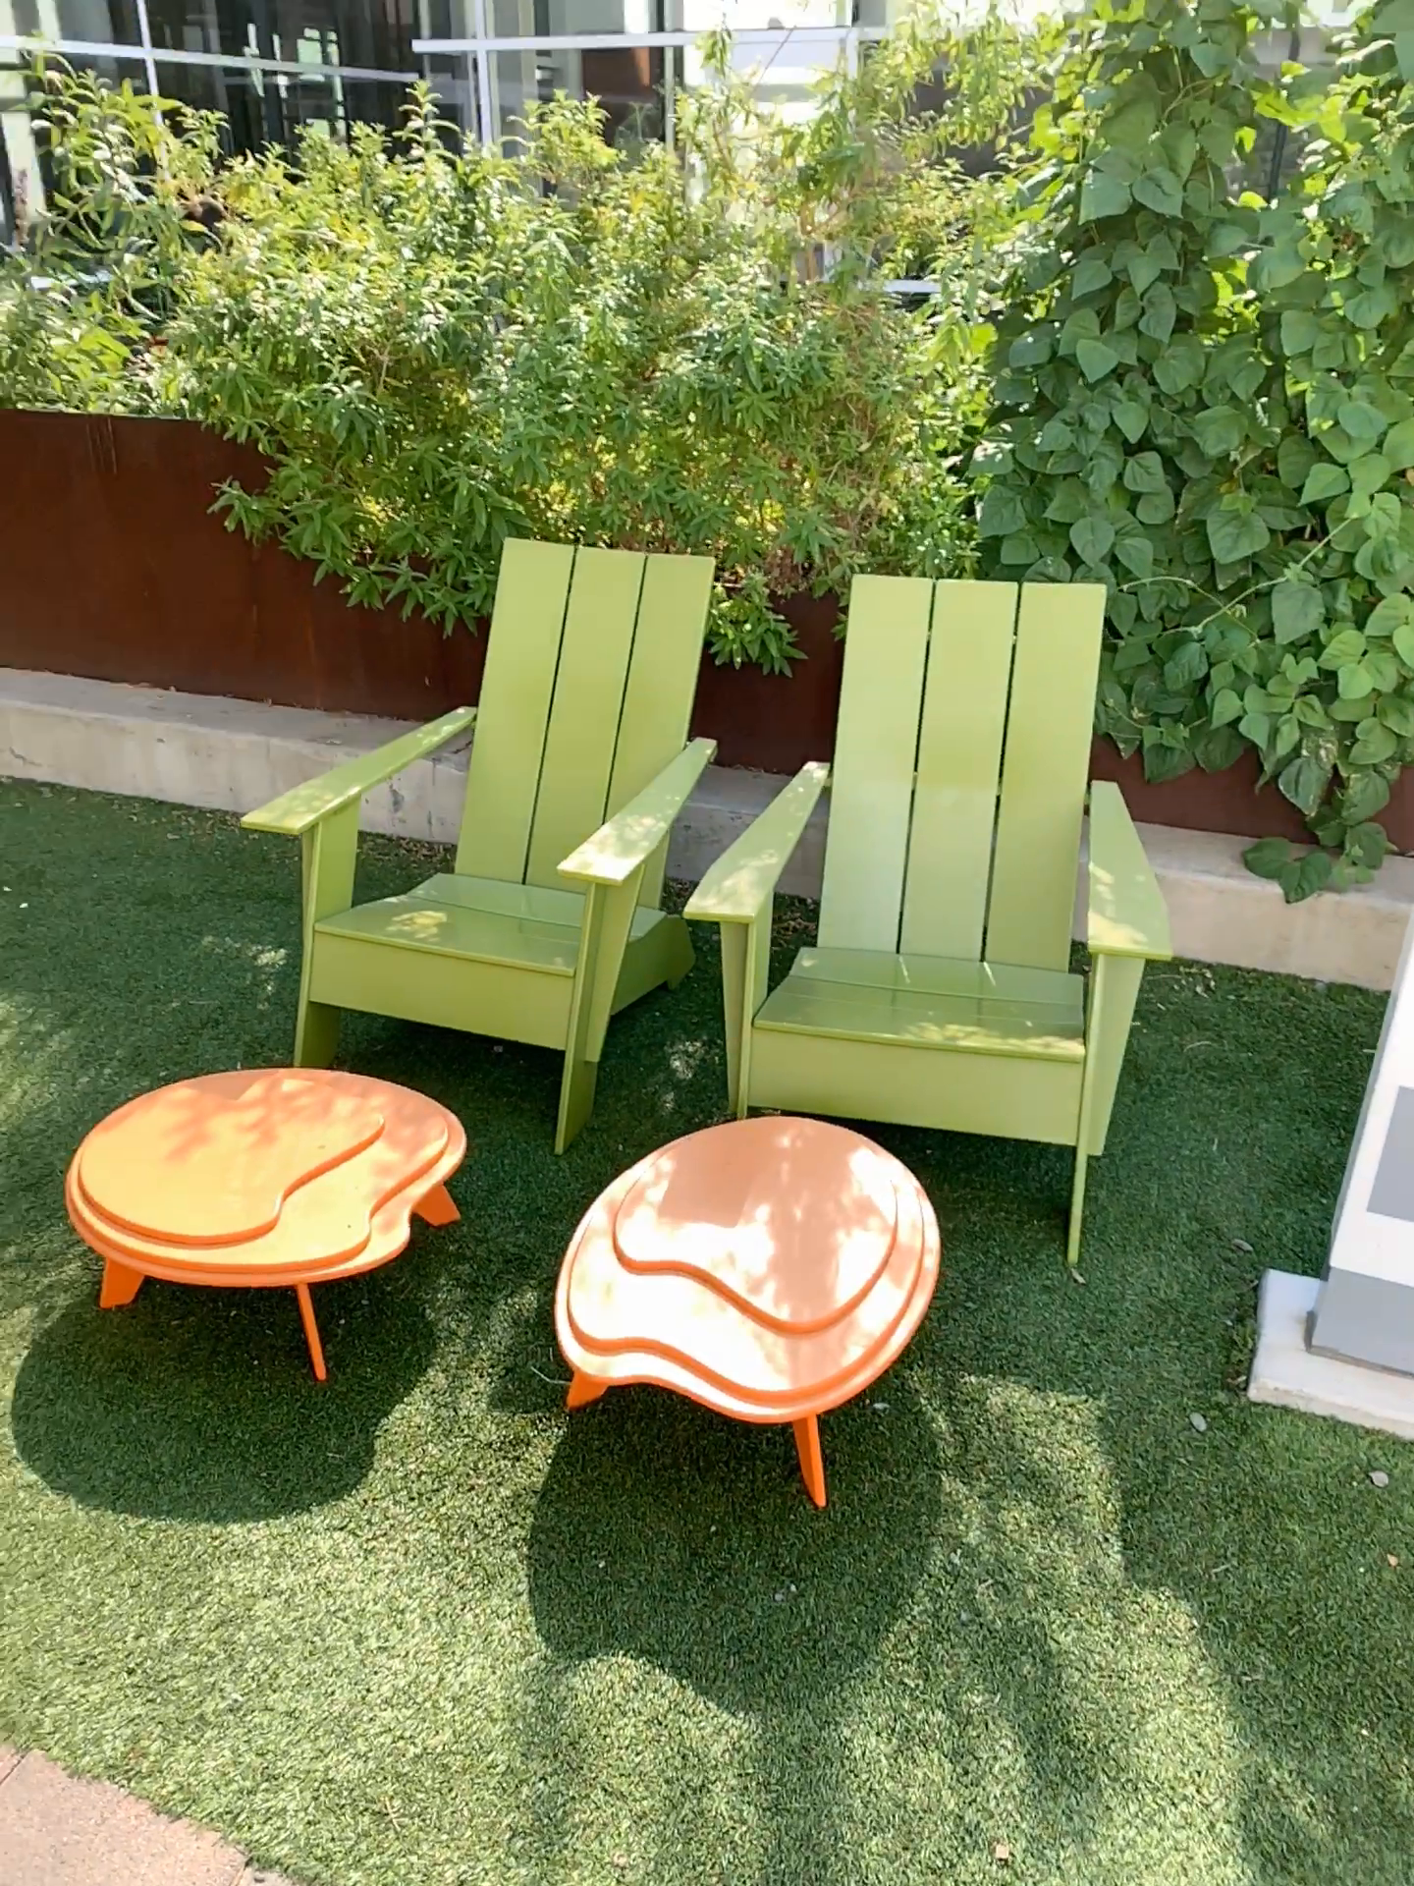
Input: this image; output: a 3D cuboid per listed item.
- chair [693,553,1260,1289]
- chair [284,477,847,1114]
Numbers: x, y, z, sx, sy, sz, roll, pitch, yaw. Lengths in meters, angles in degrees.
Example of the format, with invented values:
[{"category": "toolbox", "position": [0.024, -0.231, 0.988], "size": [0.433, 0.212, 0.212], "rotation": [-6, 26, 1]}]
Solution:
[{"category": "chair", "position": [0.480, -0.115, 2.505], "size": [0.731, 1.017, 0.822], "rotation": [7, 14, 17]}, {"category": "chair", "position": [-0.257, -0.343, 2.885], "size": [0.771, 1.007, 0.822], "rotation": [11, 15, 18]}]
